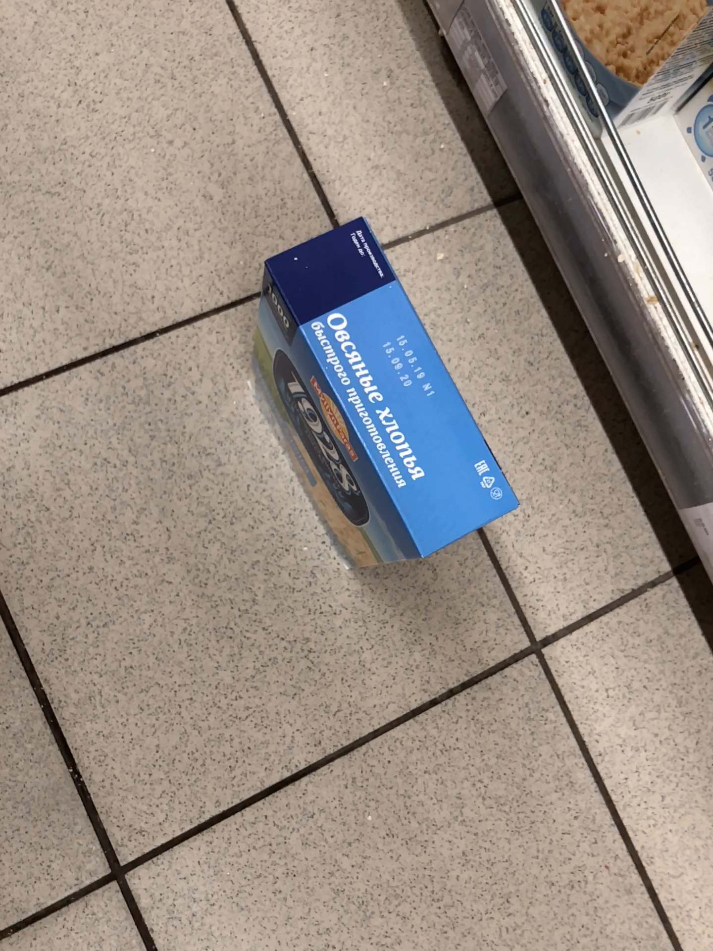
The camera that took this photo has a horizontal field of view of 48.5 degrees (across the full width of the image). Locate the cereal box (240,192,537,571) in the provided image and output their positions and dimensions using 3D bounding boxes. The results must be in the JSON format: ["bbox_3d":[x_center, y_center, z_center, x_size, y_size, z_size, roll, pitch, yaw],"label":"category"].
[{"bbox_3d":[0.000,-0.030,0.432,0.060,0.200,0.150,-27,88,-12],"label":"cereal box"}]
